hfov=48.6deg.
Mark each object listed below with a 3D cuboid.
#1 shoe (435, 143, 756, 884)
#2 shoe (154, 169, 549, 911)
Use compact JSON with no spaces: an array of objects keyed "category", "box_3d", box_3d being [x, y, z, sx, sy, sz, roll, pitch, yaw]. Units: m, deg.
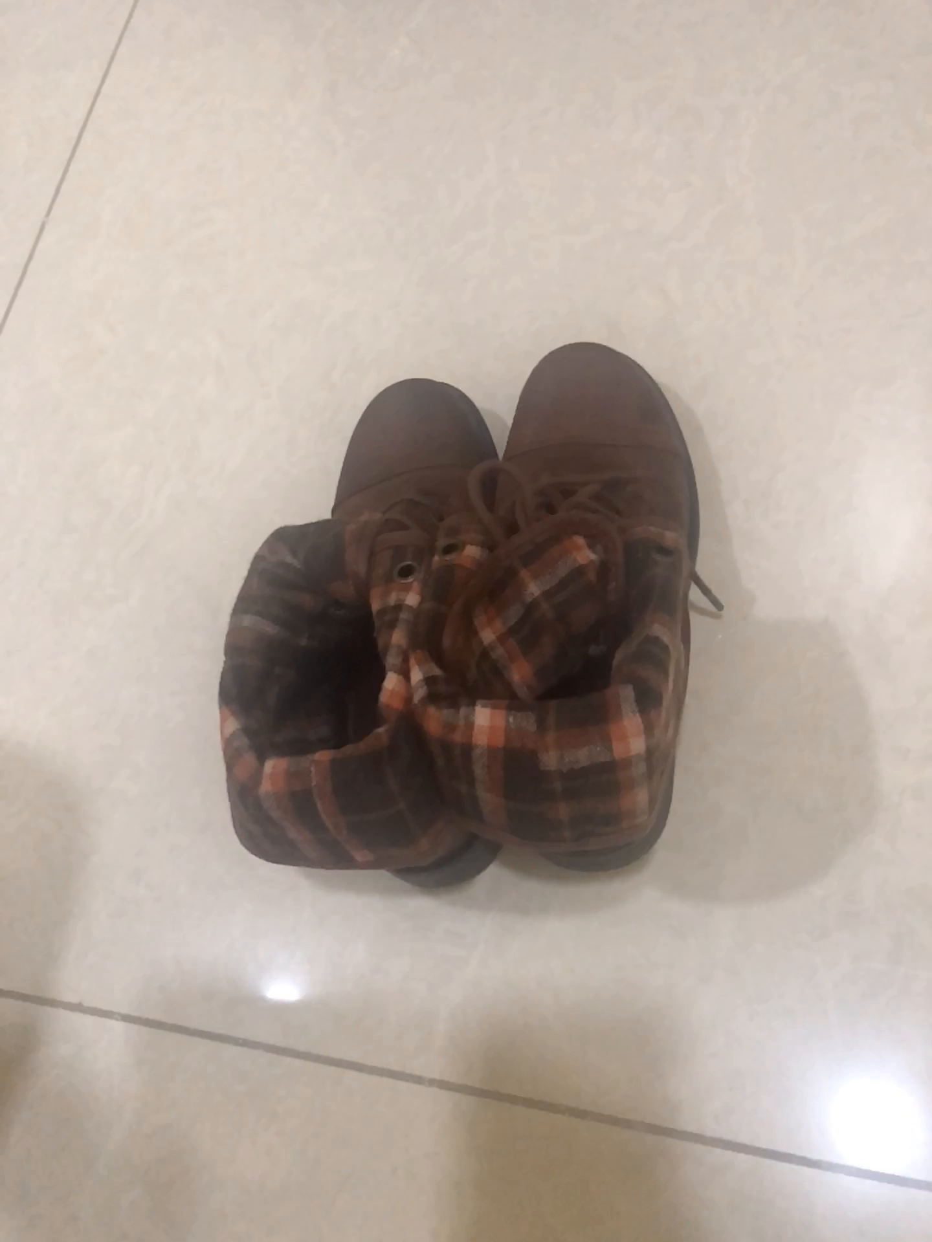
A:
[{"category":"shoe","box_3d":[0.054,-0.040,0.440,0.100,0.140,0.270,-6,65,12]},{"category":"shoe","box_3d":[-0.044,-0.031,0.463,0.110,0.150,0.280,-10,64,10]}]
